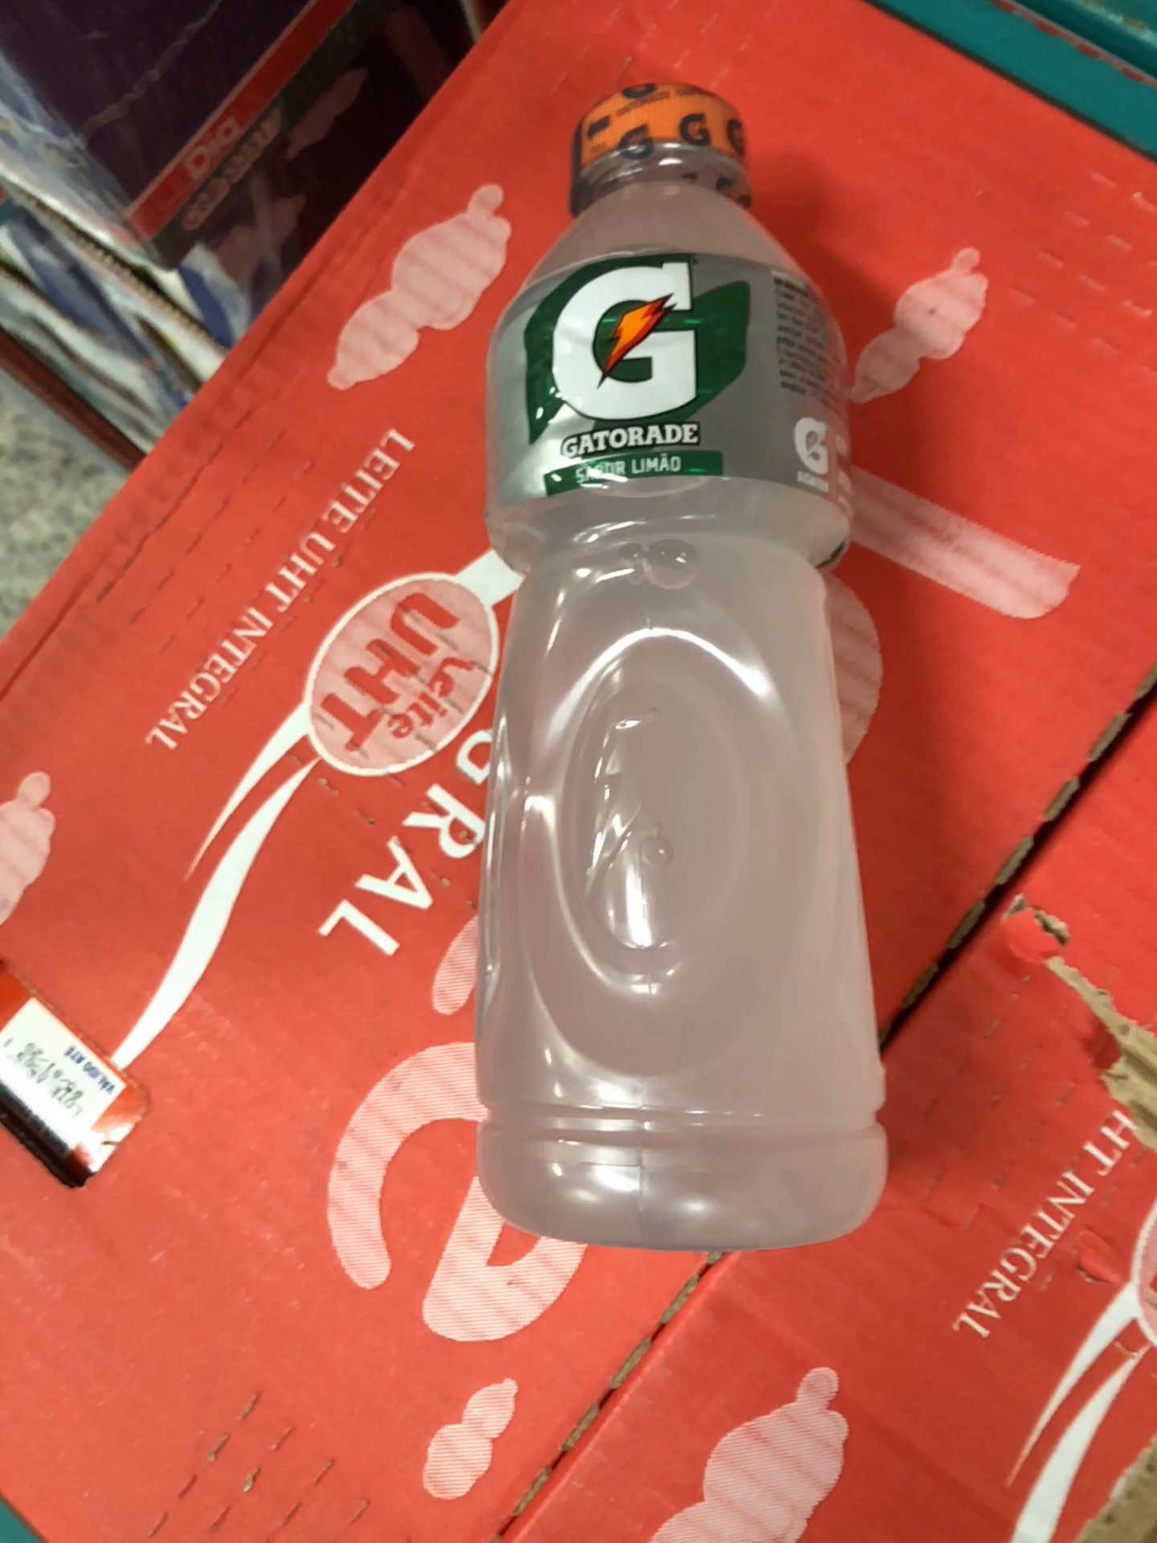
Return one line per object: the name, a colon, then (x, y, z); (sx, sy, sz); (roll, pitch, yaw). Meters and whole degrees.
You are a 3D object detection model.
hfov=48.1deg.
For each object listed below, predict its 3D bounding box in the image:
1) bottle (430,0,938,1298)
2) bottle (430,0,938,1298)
bottle: (0.018, -0.026, 0.228); (0.070, 0.060, 0.210); (-2, 79, 9)
bottle: (0.018, -0.026, 0.228); (0.070, 0.060, 0.210); (-2, 79, 9)
